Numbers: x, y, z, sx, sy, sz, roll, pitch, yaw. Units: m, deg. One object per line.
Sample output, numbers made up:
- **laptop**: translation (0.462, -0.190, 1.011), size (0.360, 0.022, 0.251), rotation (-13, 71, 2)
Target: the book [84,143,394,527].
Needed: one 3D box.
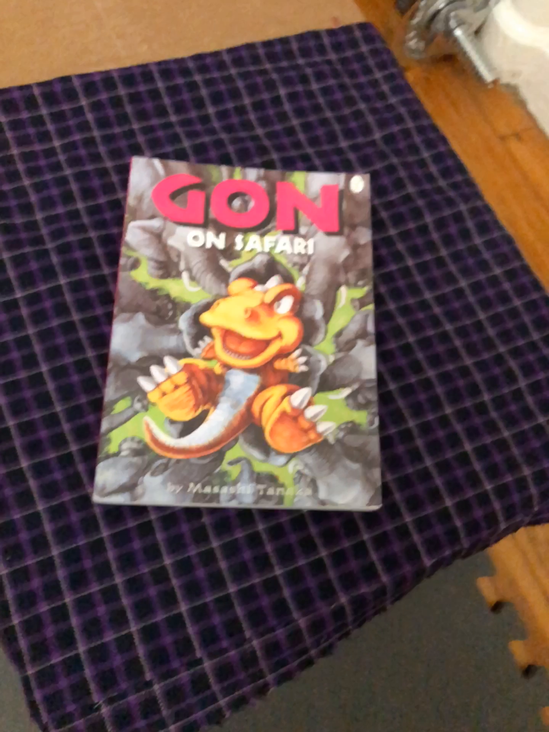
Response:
- **book**: translation (-0.013, -0.022, 0.340), size (0.150, 0.020, 0.210), rotation (4, 71, -6)
